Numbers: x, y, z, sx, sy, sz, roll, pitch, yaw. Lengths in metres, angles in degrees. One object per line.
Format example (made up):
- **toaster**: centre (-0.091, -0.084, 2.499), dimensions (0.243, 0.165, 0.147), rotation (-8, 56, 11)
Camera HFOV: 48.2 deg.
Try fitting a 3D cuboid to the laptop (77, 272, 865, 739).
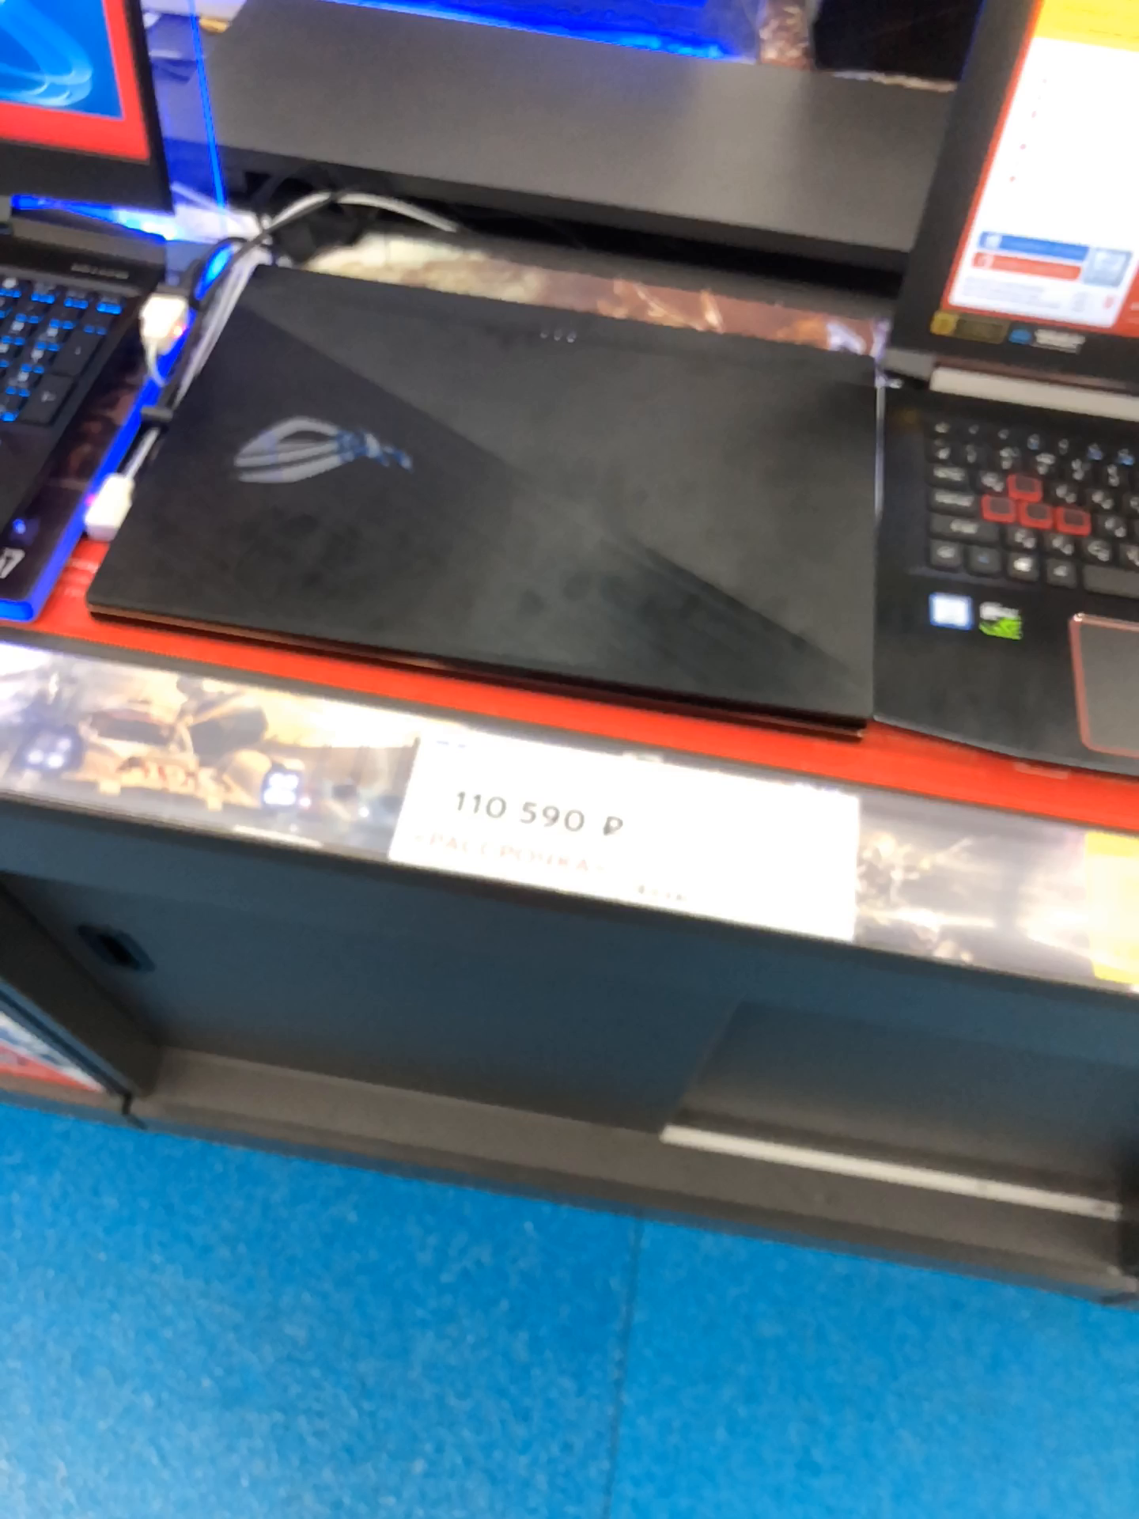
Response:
- **laptop**: centre (-0.029, -0.142, 0.640), dimensions (0.348, 0.006, 0.255), rotation (10, 55, 2)
